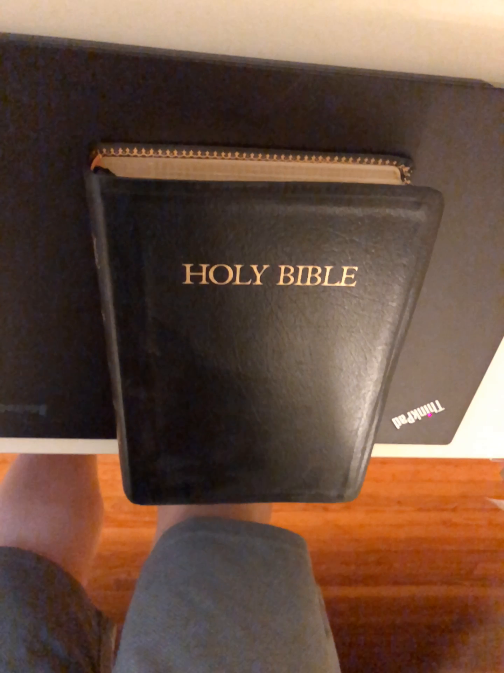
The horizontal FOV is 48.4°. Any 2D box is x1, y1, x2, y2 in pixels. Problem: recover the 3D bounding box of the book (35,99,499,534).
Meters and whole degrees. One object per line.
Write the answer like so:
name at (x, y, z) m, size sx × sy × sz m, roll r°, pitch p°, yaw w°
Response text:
book at (-0.001, 0.013, 0.292) m, size 0.170 × 0.040 × 0.241 m, roll 1°, pitch 127°, yaw -6°
